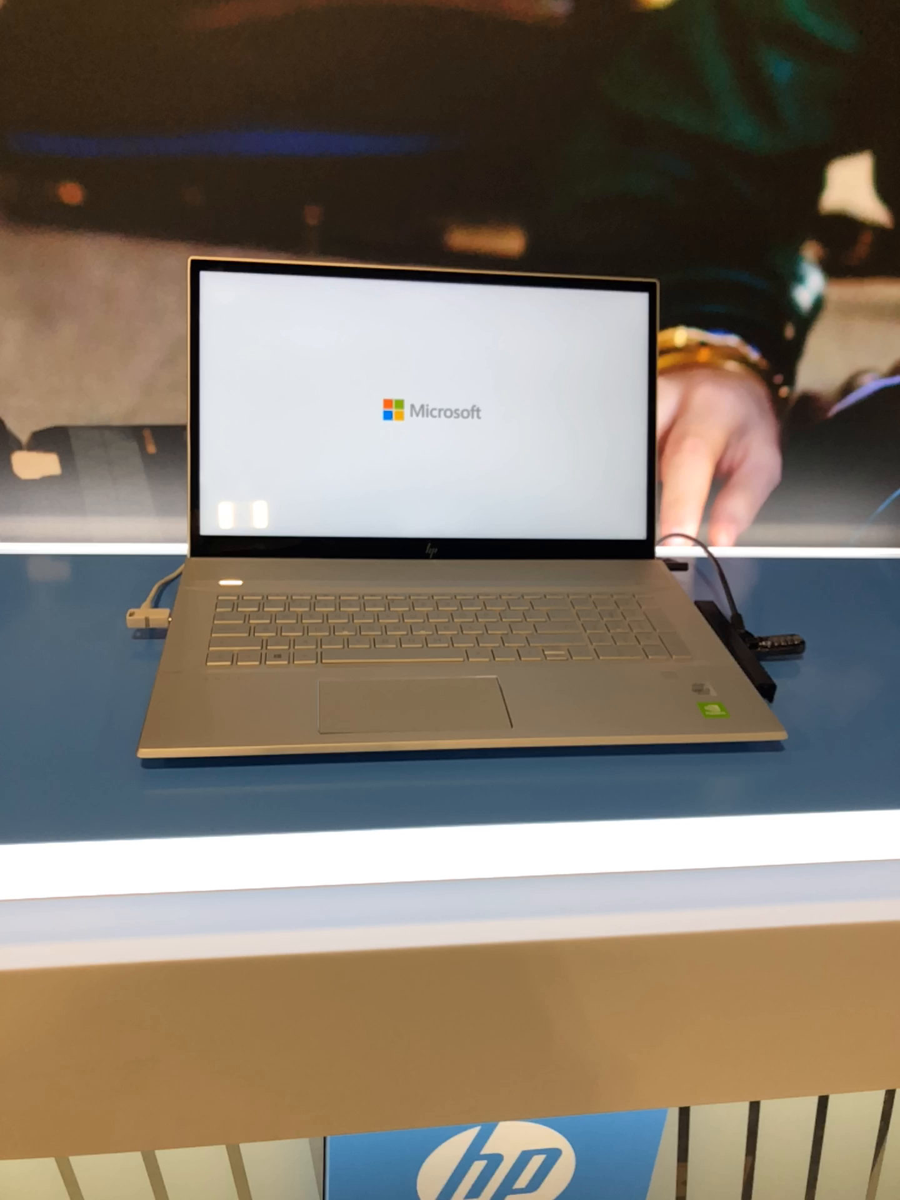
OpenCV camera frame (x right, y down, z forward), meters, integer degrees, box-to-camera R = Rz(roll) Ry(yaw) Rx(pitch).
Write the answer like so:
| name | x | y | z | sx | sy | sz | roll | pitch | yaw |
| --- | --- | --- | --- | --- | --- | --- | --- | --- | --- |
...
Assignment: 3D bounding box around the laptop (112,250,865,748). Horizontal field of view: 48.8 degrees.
| name | x | y | z | sx | sy | sz | roll | pitch | yaw |
| --- | --- | --- | --- | --- | --- | --- | --- | --- | --- |
| laptop | 0.001 | -0.104 | 0.732 | 0.400 | 0.217 | 0.385 | 0 | 27 | -8 |
